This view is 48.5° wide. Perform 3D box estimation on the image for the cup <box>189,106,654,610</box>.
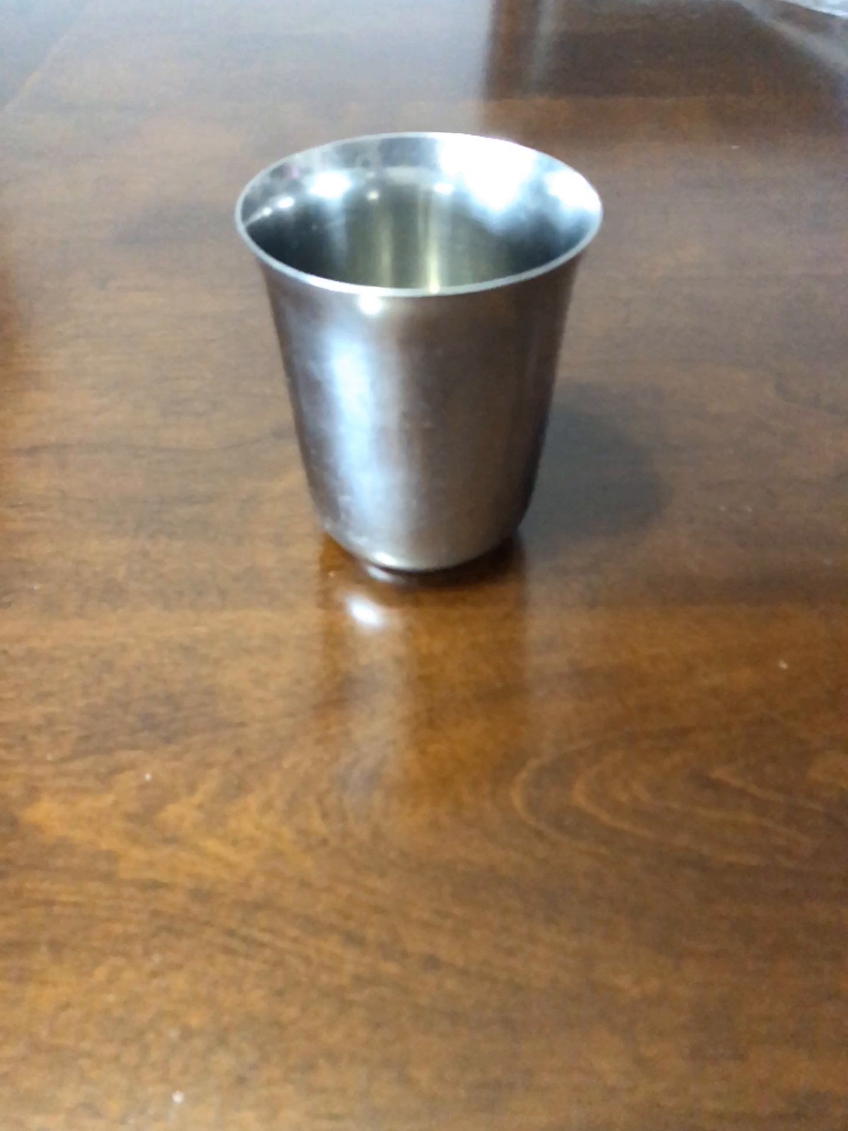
[{"bbox_3d":[-0.005,-0.054,0.235,0.080,0.080,0.080,0,45,0],"label":"cup"}]
